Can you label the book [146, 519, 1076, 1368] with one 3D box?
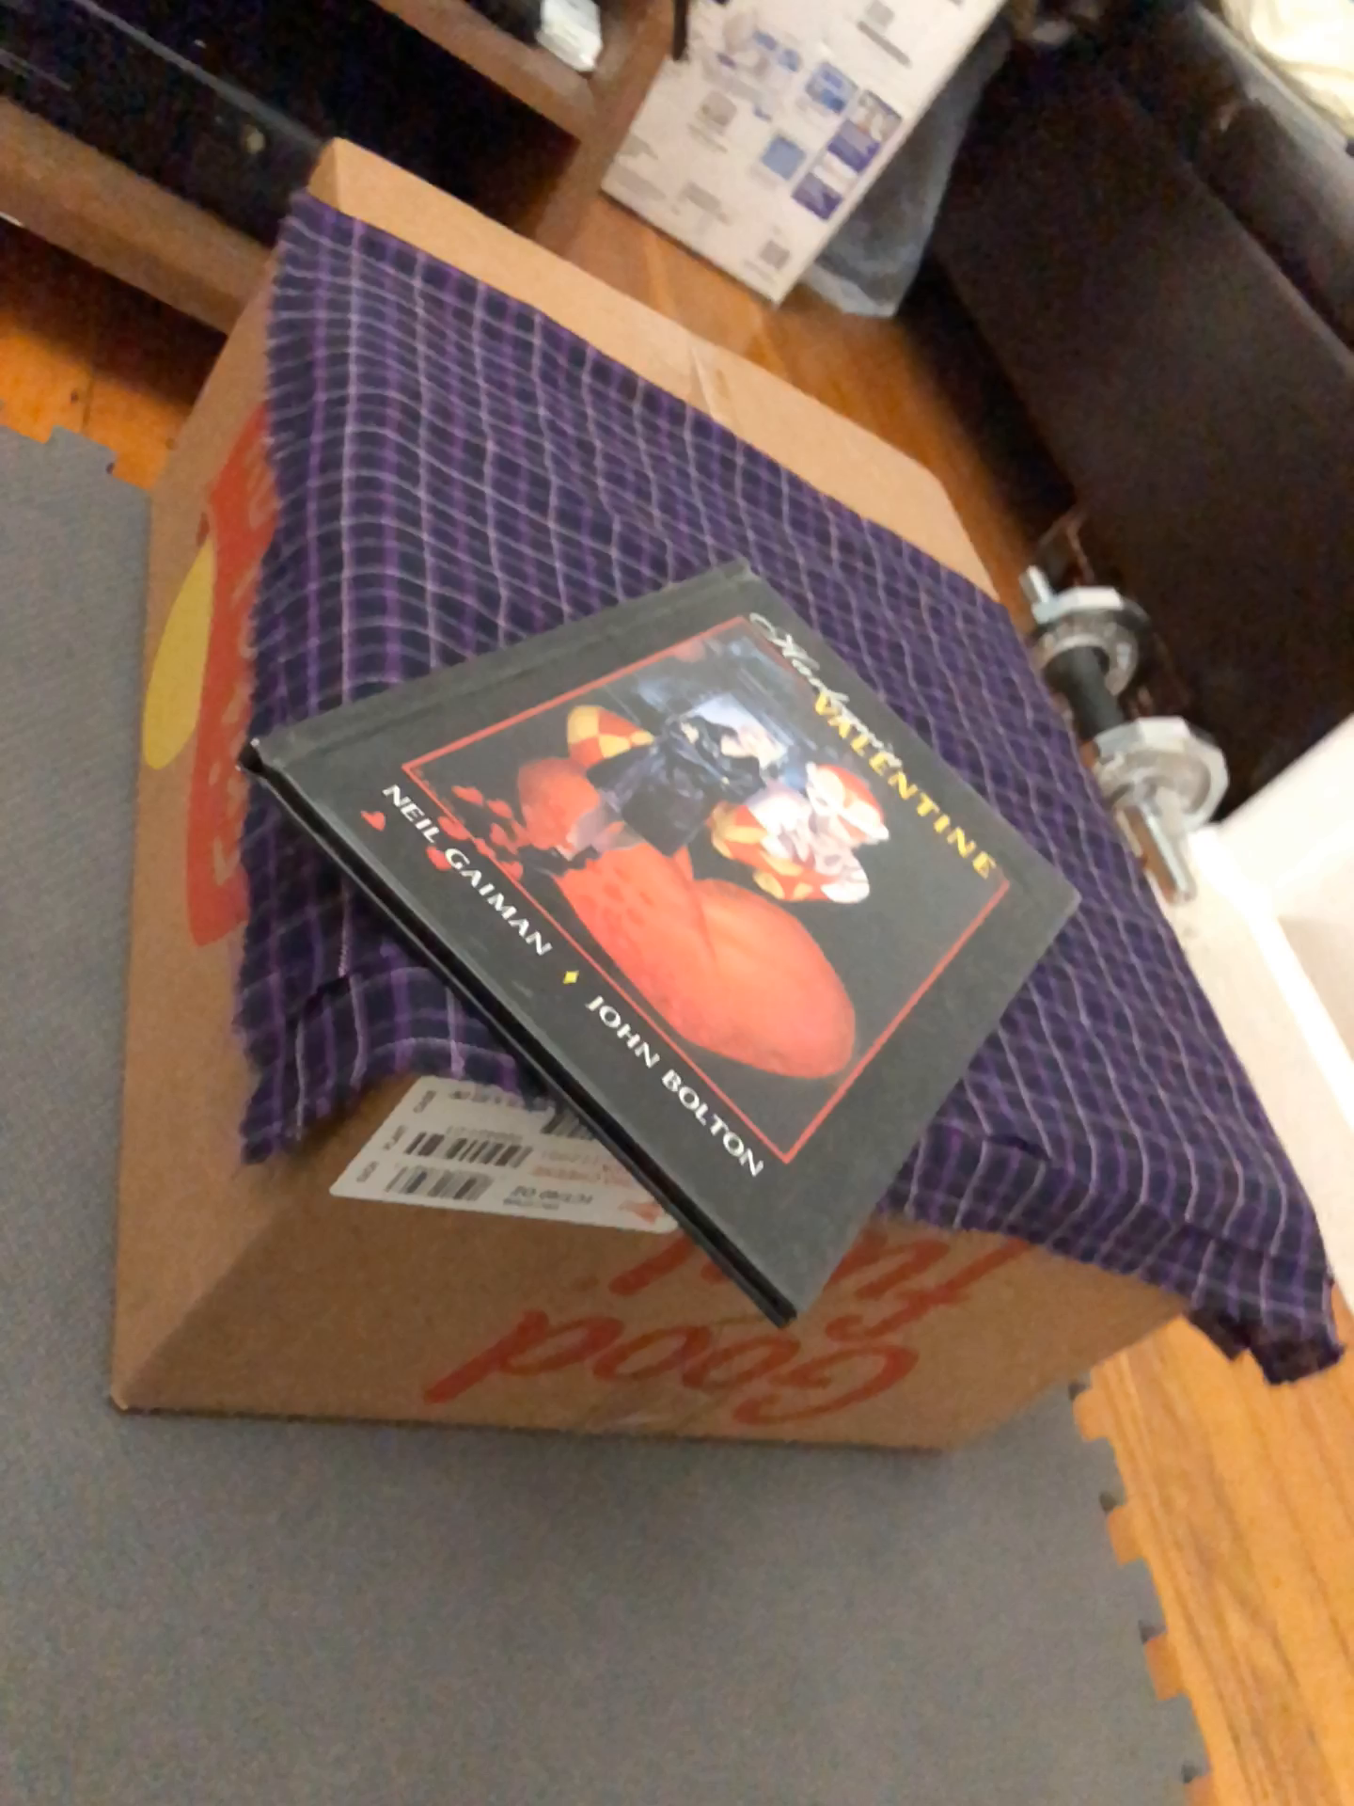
[{"bbox_3d":[0.014,-0.022,0.432,0.180,0.020,0.282,45,34,4],"label":"book"}]
